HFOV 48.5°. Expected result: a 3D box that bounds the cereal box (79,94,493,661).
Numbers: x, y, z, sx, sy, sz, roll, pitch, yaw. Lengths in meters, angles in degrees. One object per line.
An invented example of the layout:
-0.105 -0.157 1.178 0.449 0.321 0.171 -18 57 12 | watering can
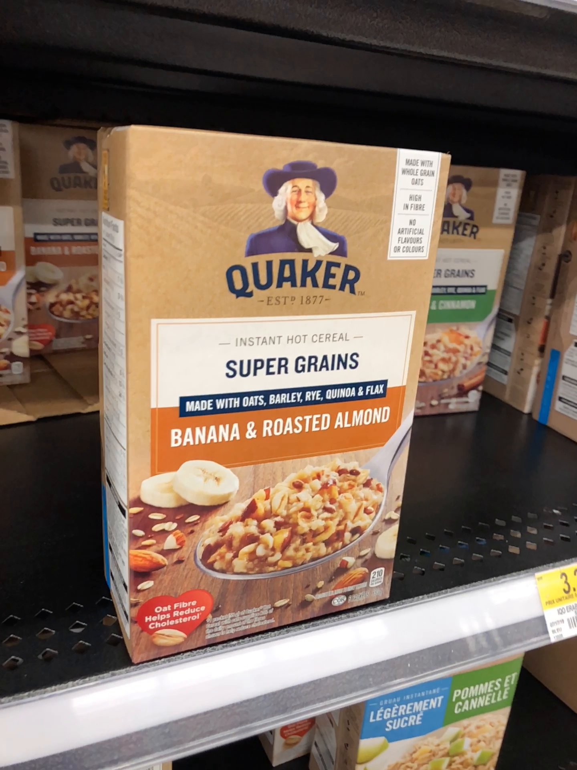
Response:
-0.009 -0.006 0.258 0.130 0.189 0.070 -5 22 -26 | cereal box
